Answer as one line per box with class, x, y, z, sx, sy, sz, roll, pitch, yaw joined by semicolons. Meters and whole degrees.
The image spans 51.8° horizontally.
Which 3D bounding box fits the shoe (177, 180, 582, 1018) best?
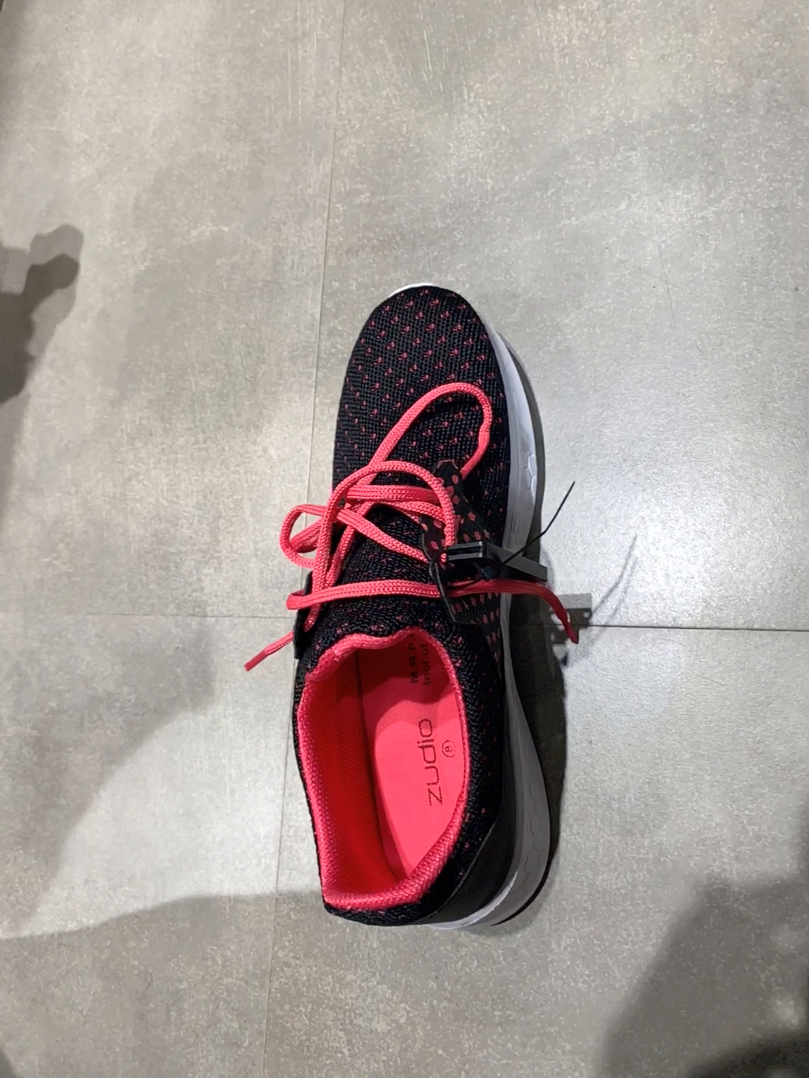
shoe;-0.008;0.021;0.330;0.110;0.109;0.263;-8;77;24
